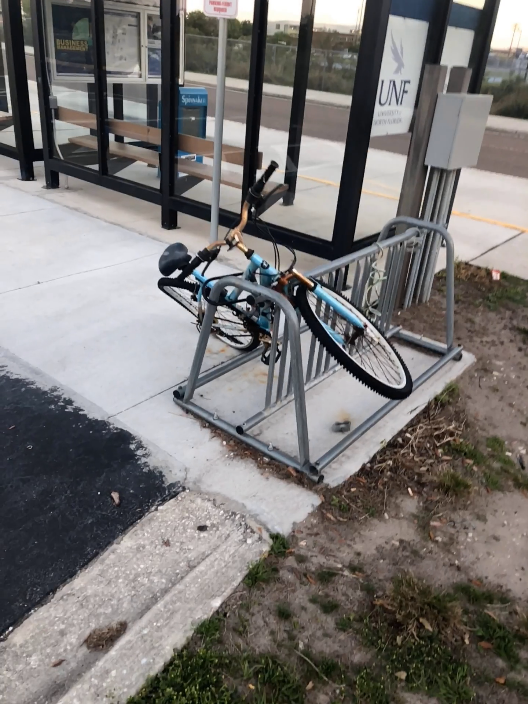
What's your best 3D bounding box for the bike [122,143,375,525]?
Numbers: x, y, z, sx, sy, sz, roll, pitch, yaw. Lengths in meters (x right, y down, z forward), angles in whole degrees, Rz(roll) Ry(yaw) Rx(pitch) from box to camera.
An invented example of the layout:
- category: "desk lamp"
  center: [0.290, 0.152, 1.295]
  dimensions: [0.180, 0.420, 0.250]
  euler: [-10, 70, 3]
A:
- category: "bike"
  center: [-0.154, -0.158, 2.191]
  dimensions: [0.548, 1.127, 0.942]
  euler: [-9, 29, -26]
